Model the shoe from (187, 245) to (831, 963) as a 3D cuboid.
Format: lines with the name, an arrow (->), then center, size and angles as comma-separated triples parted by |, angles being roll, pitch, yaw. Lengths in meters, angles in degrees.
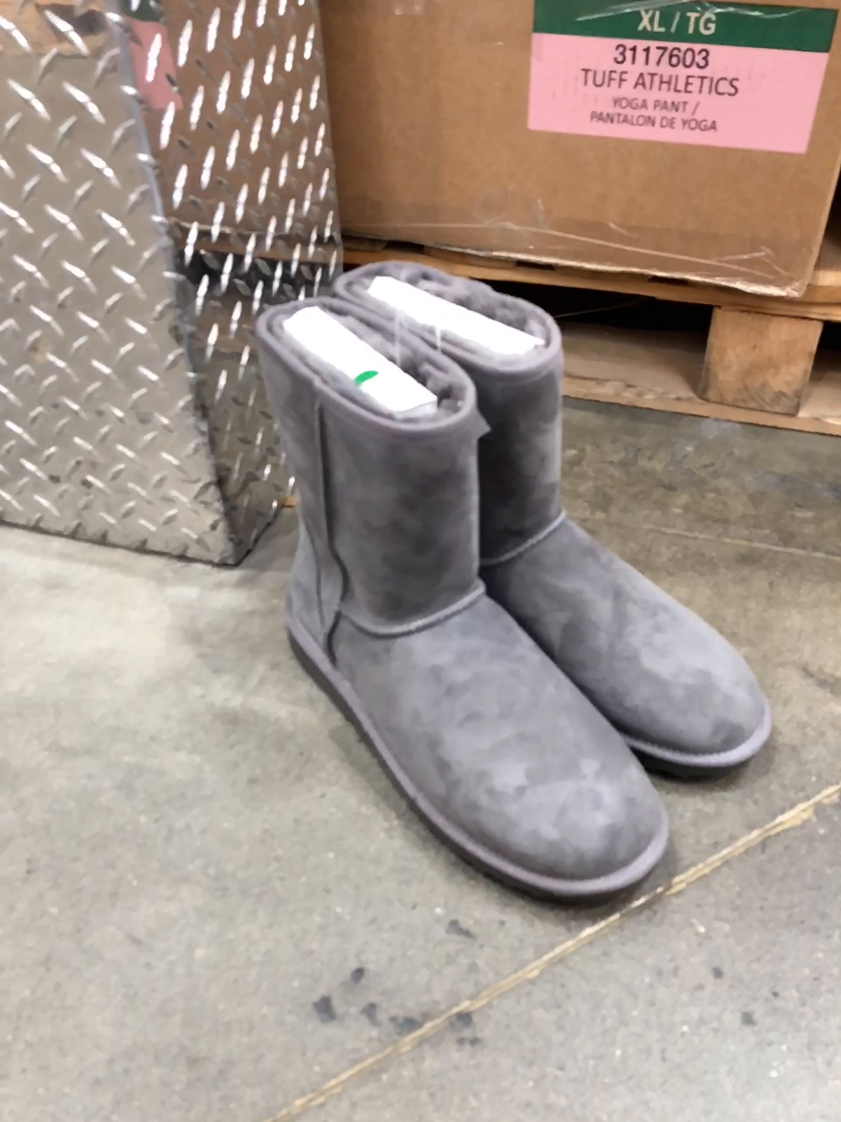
shoe -> 0.023, 0.008, 0.477 | 0.120, 0.239, 0.281 | -29, 47, -28

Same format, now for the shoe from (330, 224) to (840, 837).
shoe -> 0.094, -0.025, 0.519 | 0.271, 0.239, 0.110 | 29, 49, 31
